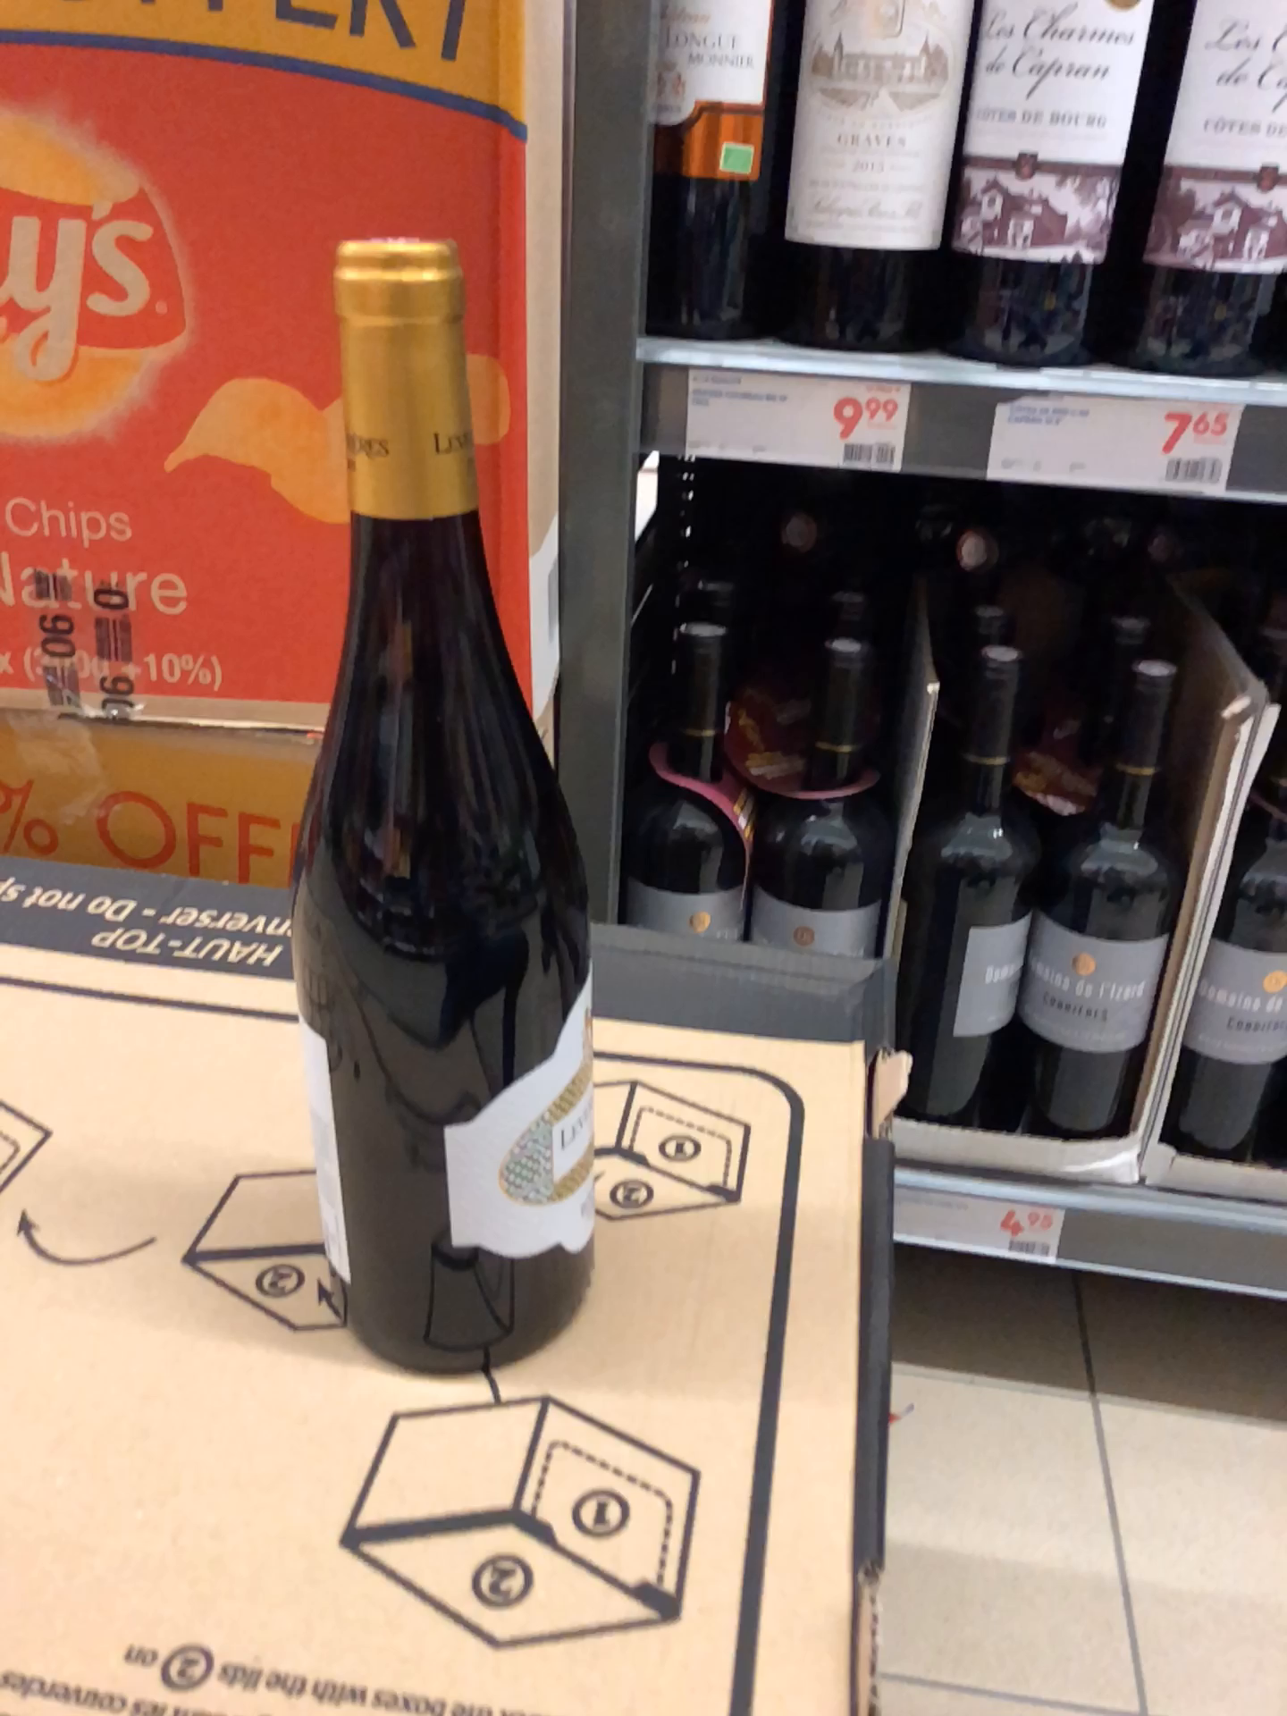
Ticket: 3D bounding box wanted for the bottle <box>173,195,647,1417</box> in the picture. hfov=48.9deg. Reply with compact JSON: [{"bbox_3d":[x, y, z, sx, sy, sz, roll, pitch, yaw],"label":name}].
[{"bbox_3d":[-0.050,-0.003,0.366,0.080,0.298,0.091,5,26,3],"label":"bottle"}]
